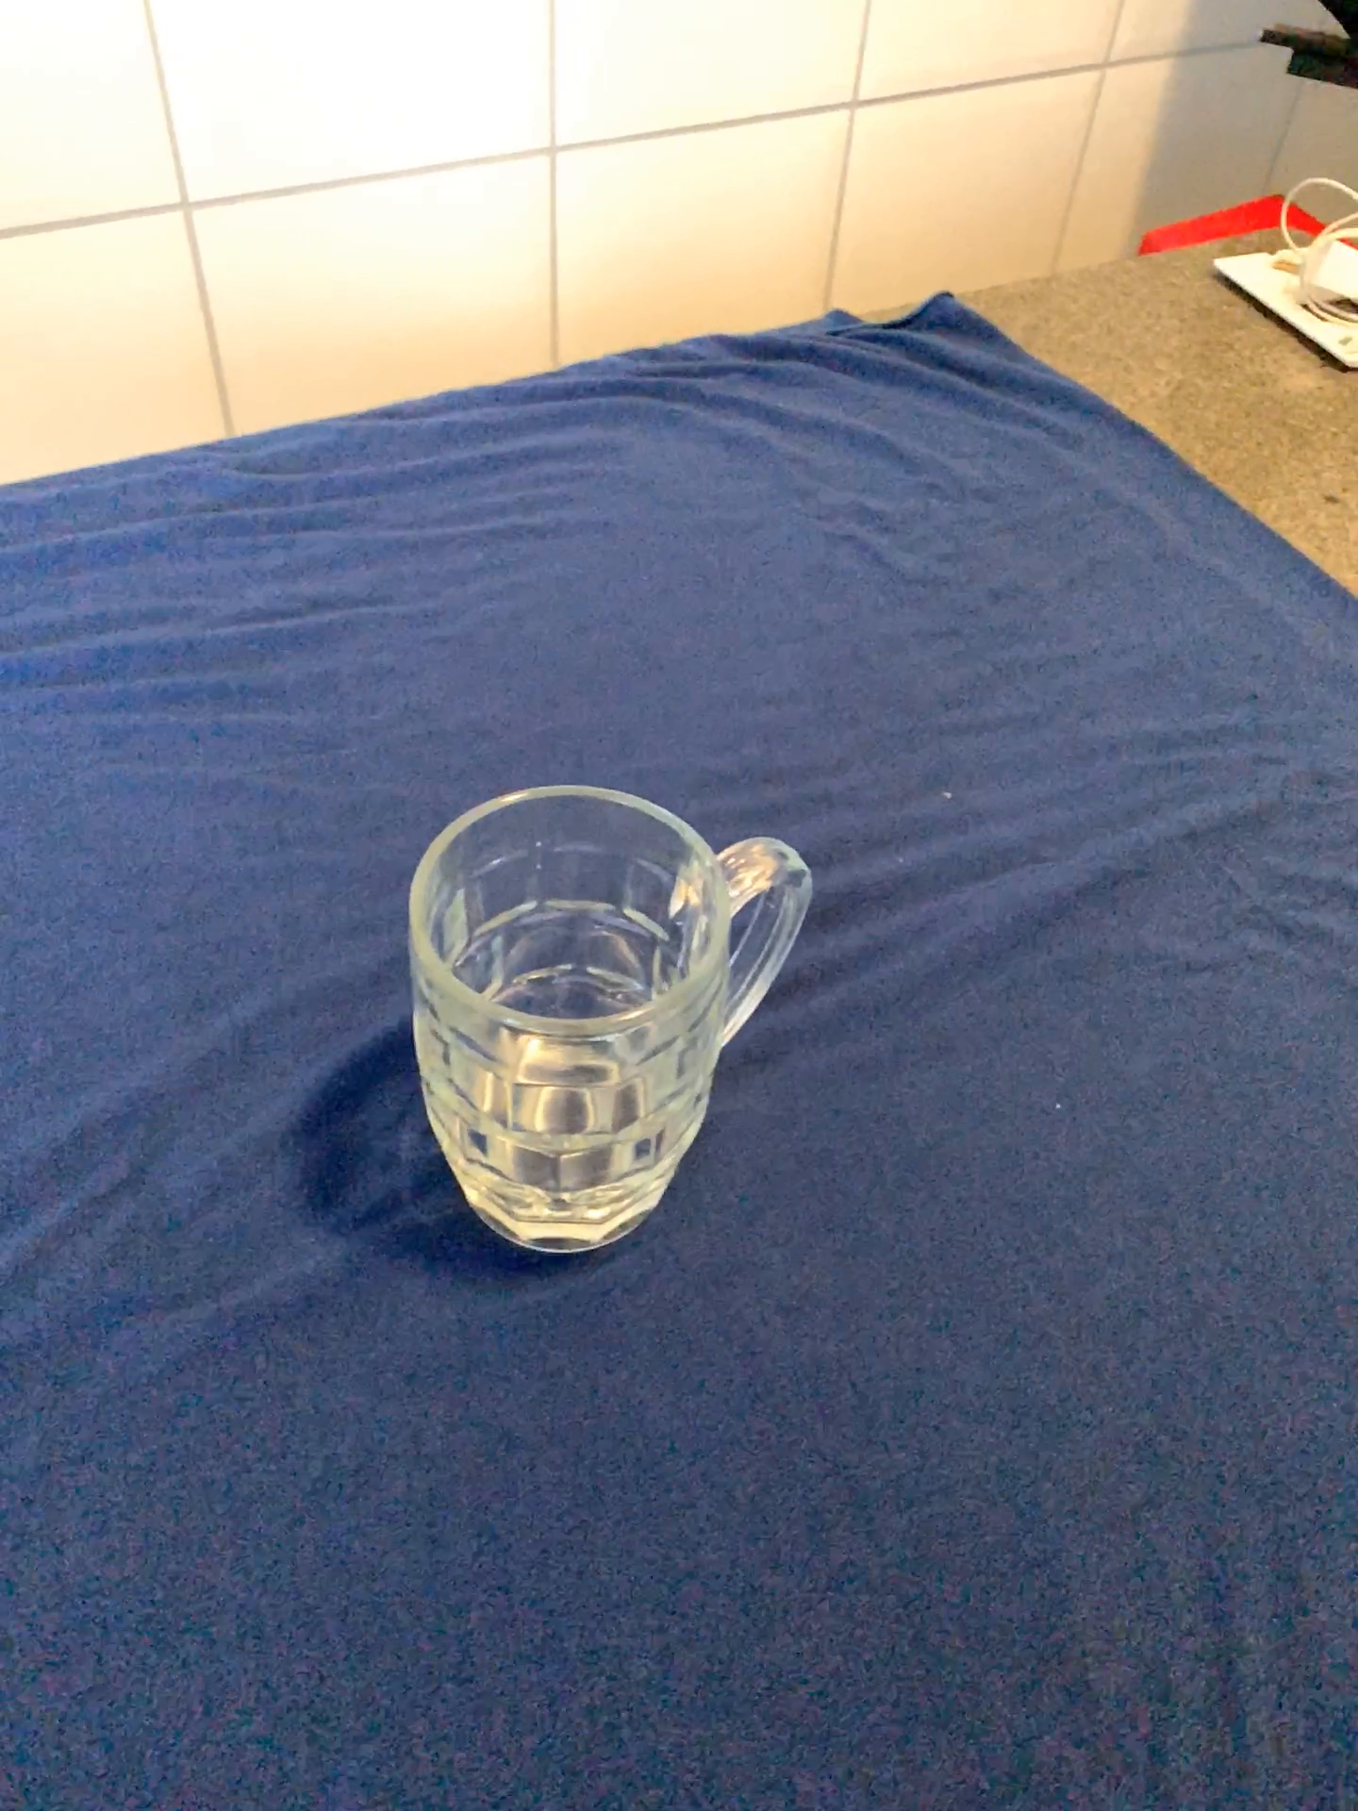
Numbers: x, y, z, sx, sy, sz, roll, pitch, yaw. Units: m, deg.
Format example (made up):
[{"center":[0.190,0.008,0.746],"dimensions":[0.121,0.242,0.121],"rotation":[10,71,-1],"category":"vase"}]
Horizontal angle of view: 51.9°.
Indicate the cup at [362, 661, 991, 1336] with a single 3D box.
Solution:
[{"center":[-0.003,0.022,0.359],"dimensions":[0.120,0.109,0.080],"rotation":[-27,55,-27],"category":"cup"}]
